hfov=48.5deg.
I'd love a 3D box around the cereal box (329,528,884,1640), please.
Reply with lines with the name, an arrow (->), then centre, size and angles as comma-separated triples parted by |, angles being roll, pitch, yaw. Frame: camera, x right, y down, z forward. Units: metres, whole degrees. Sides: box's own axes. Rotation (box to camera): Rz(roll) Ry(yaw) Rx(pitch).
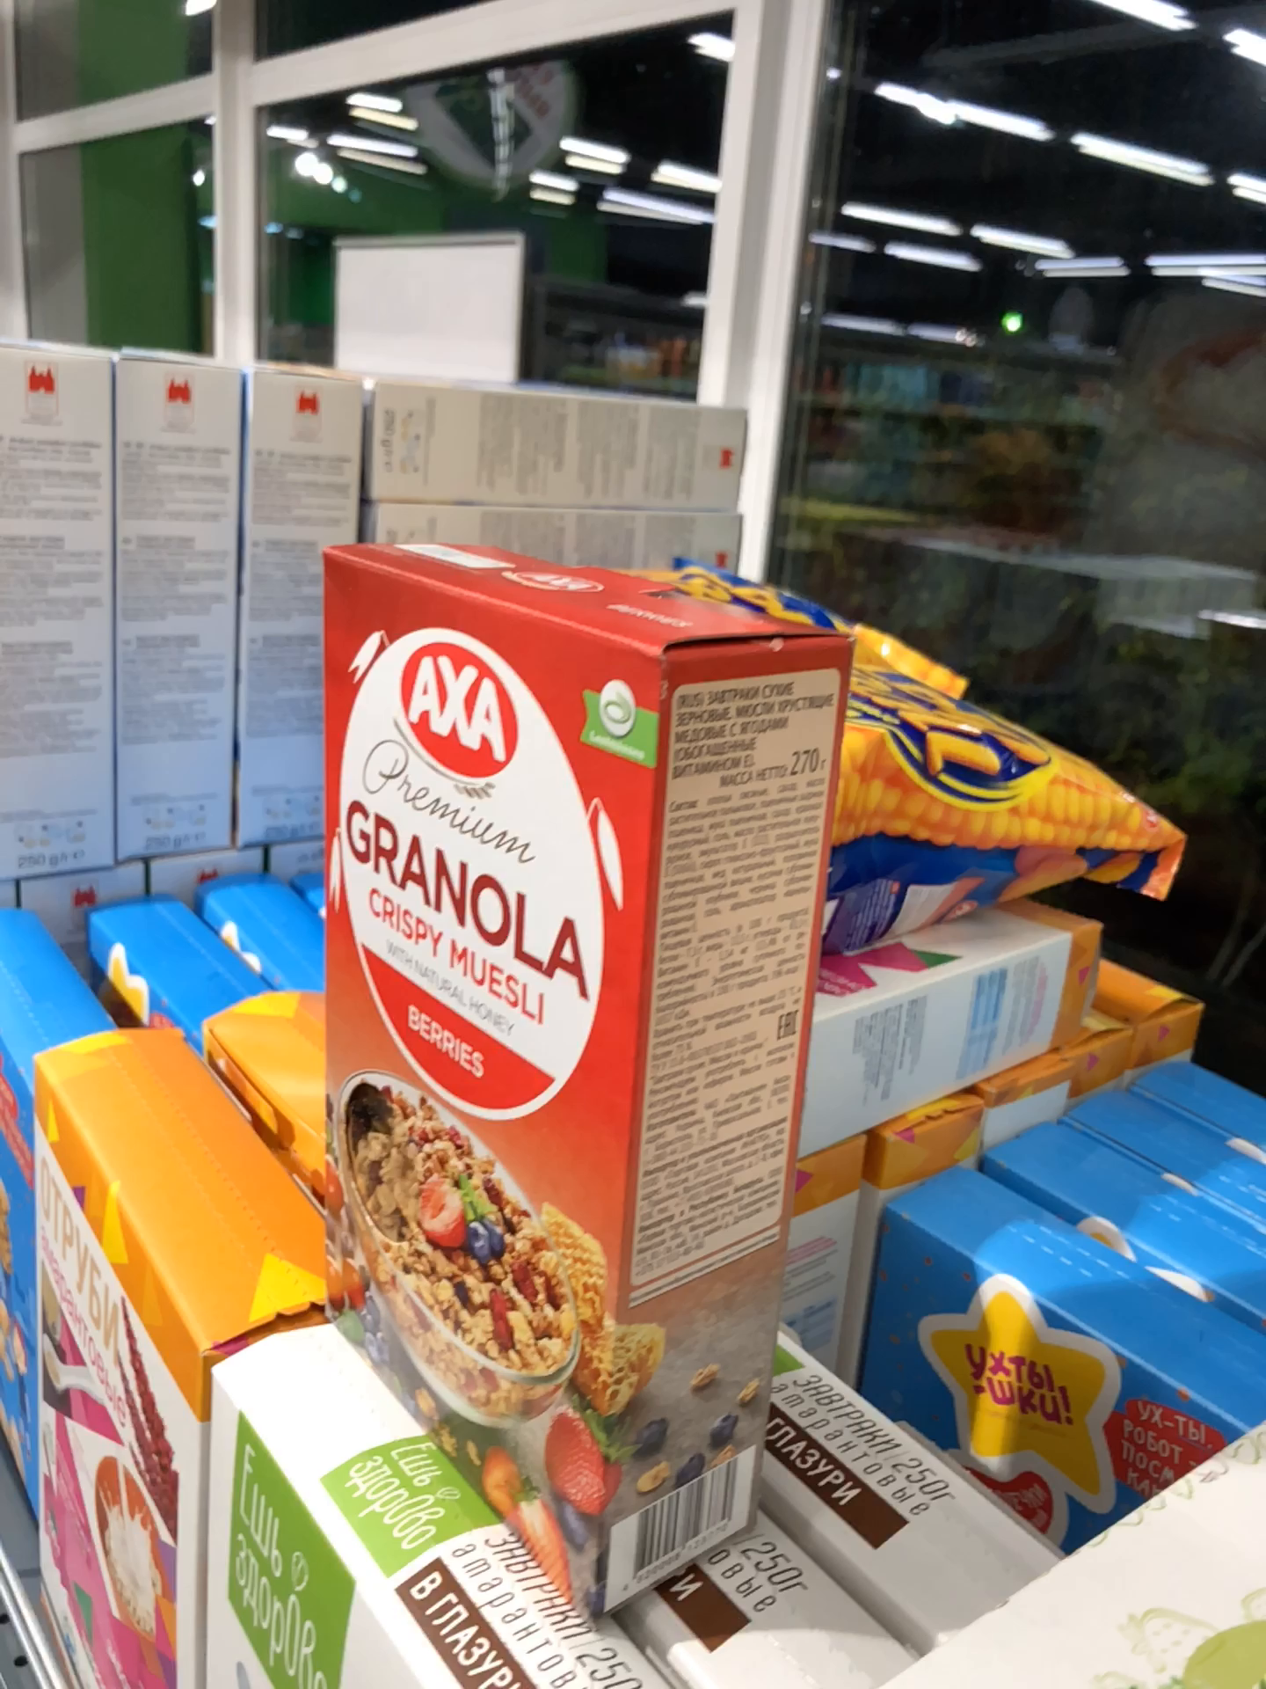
cereal box -> -0.019, 0.046, 0.333 | 0.050, 0.219, 0.130 | -11, 24, -37
